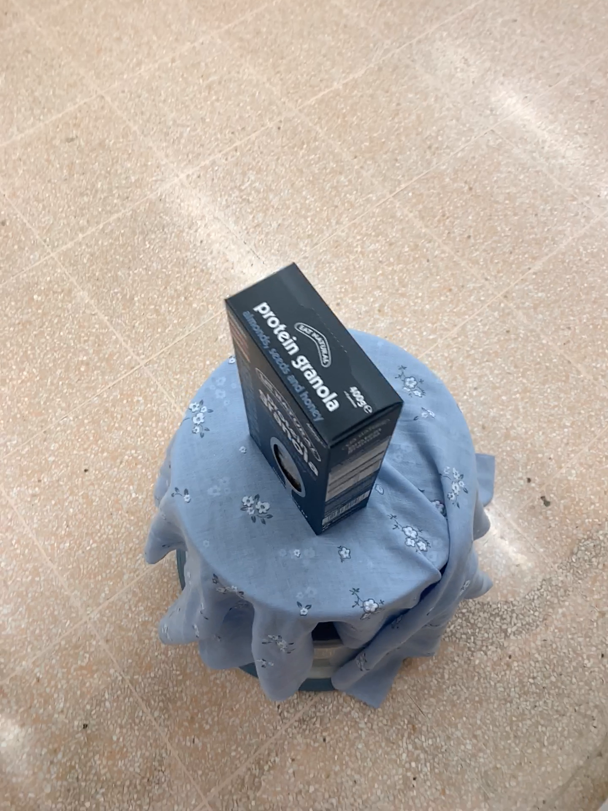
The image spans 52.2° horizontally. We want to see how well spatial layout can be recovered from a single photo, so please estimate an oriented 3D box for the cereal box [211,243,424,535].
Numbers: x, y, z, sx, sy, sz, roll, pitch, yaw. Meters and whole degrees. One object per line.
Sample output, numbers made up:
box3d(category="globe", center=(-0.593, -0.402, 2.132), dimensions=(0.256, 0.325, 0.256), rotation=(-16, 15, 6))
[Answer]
box3d(category="cereal box", center=(0.005, 0.006, 0.492), dimensions=(0.070, 0.239, 0.130), rotation=(-31, 71, -12))
